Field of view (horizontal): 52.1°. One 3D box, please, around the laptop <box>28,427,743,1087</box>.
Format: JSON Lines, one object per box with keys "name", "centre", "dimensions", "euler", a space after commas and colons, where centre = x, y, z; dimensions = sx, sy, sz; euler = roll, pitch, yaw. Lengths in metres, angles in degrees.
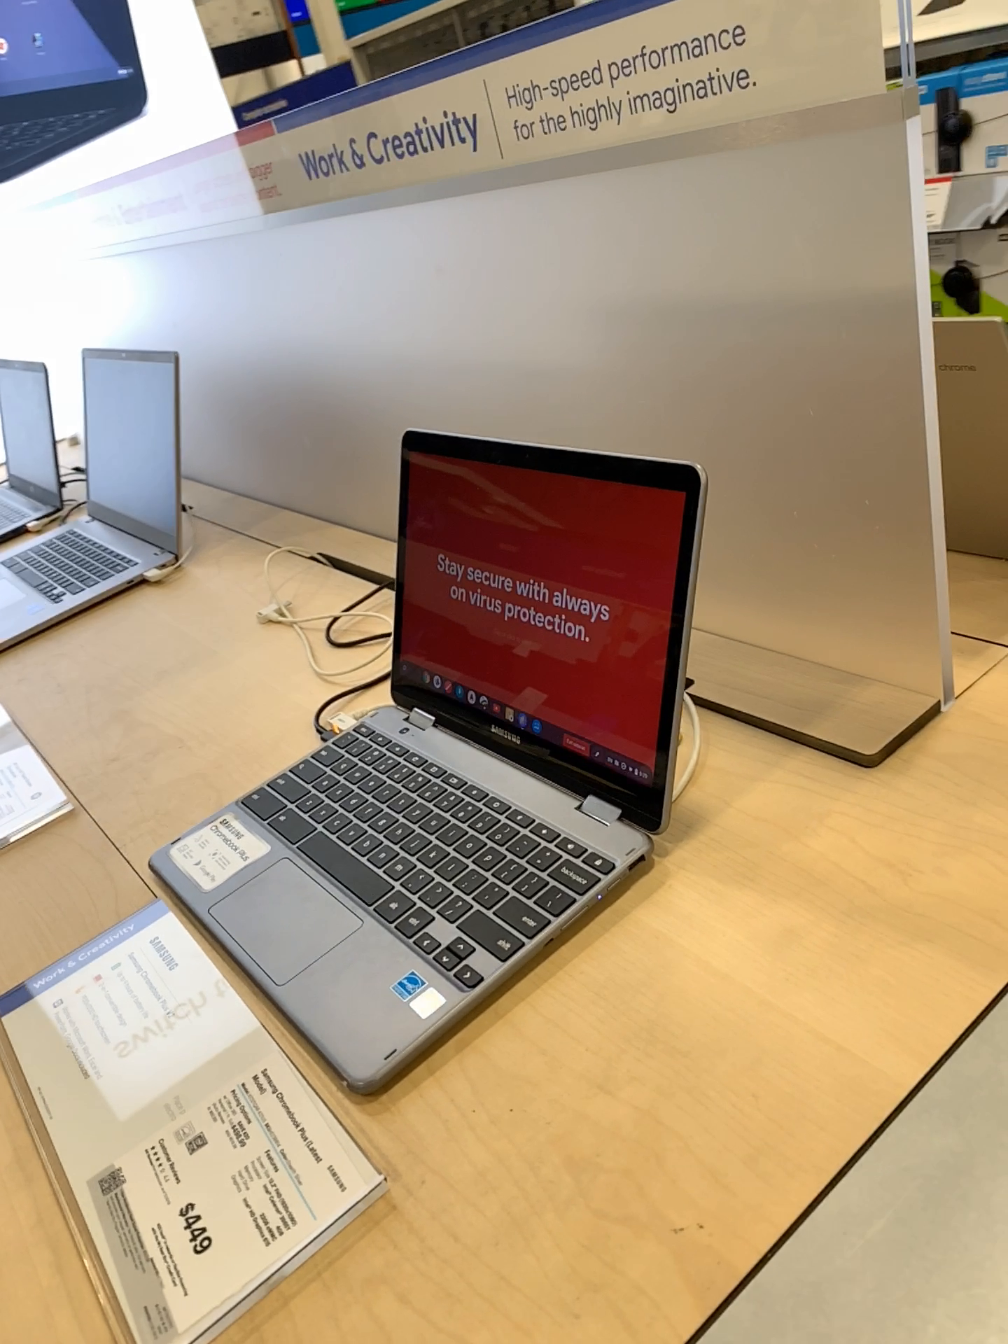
{"name": "laptop", "centre": [-0.069, 0.010, 0.598], "dimensions": [0.274, 0.183, 0.275], "euler": [-33, 32, -26]}
